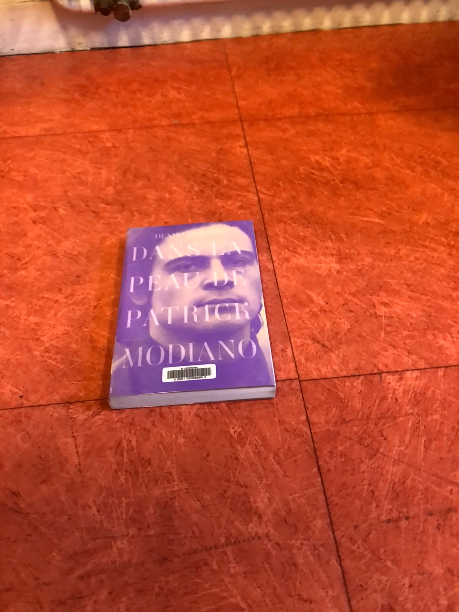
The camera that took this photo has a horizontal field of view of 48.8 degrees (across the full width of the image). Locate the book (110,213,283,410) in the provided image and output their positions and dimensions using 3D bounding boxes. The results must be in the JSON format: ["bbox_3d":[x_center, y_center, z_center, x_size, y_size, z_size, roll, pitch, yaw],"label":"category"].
[{"bbox_3d":[-0.035,-0.007,0.525,0.150,0.030,0.234,-3,48,-1],"label":"book"}]
